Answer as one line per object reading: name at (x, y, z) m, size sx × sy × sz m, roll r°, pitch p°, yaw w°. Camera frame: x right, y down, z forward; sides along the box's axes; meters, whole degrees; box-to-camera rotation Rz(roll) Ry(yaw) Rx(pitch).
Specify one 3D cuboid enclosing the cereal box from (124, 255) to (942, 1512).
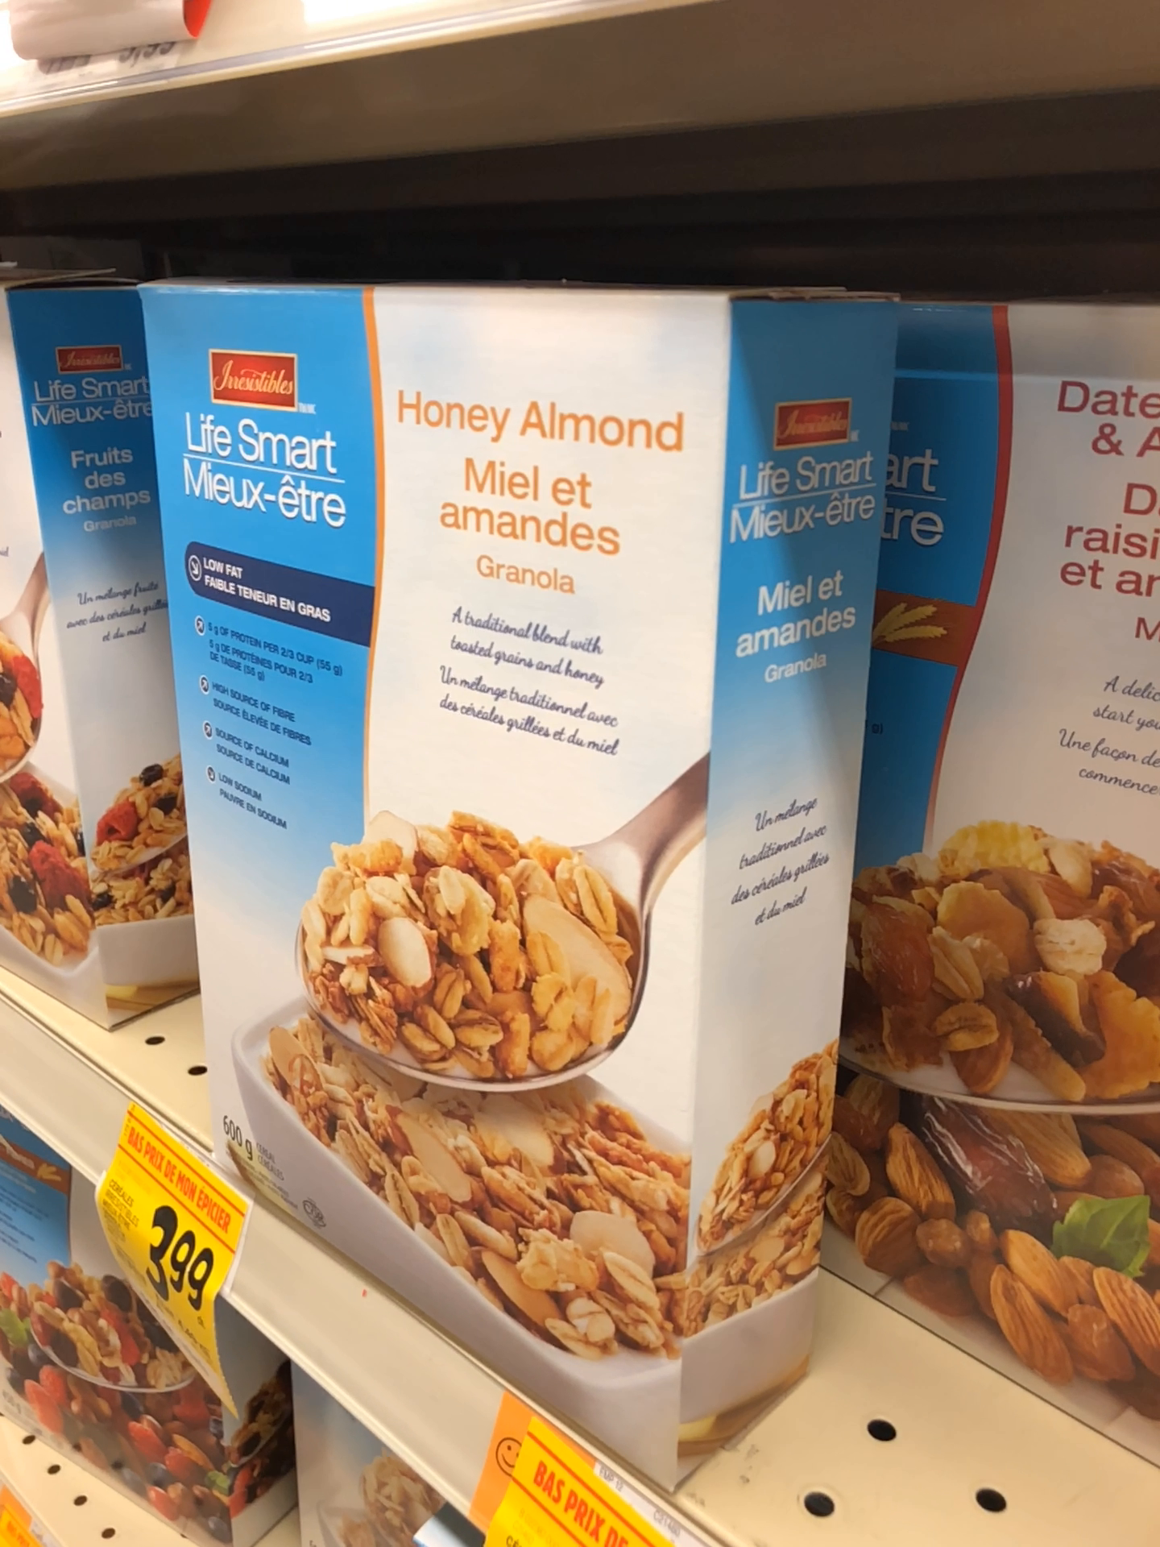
cereal box at (-0.021, 0.010, 0.297) m, size 0.171 × 0.238 × 0.060 m, roll 18°, pitch 26°, yaw 40°
